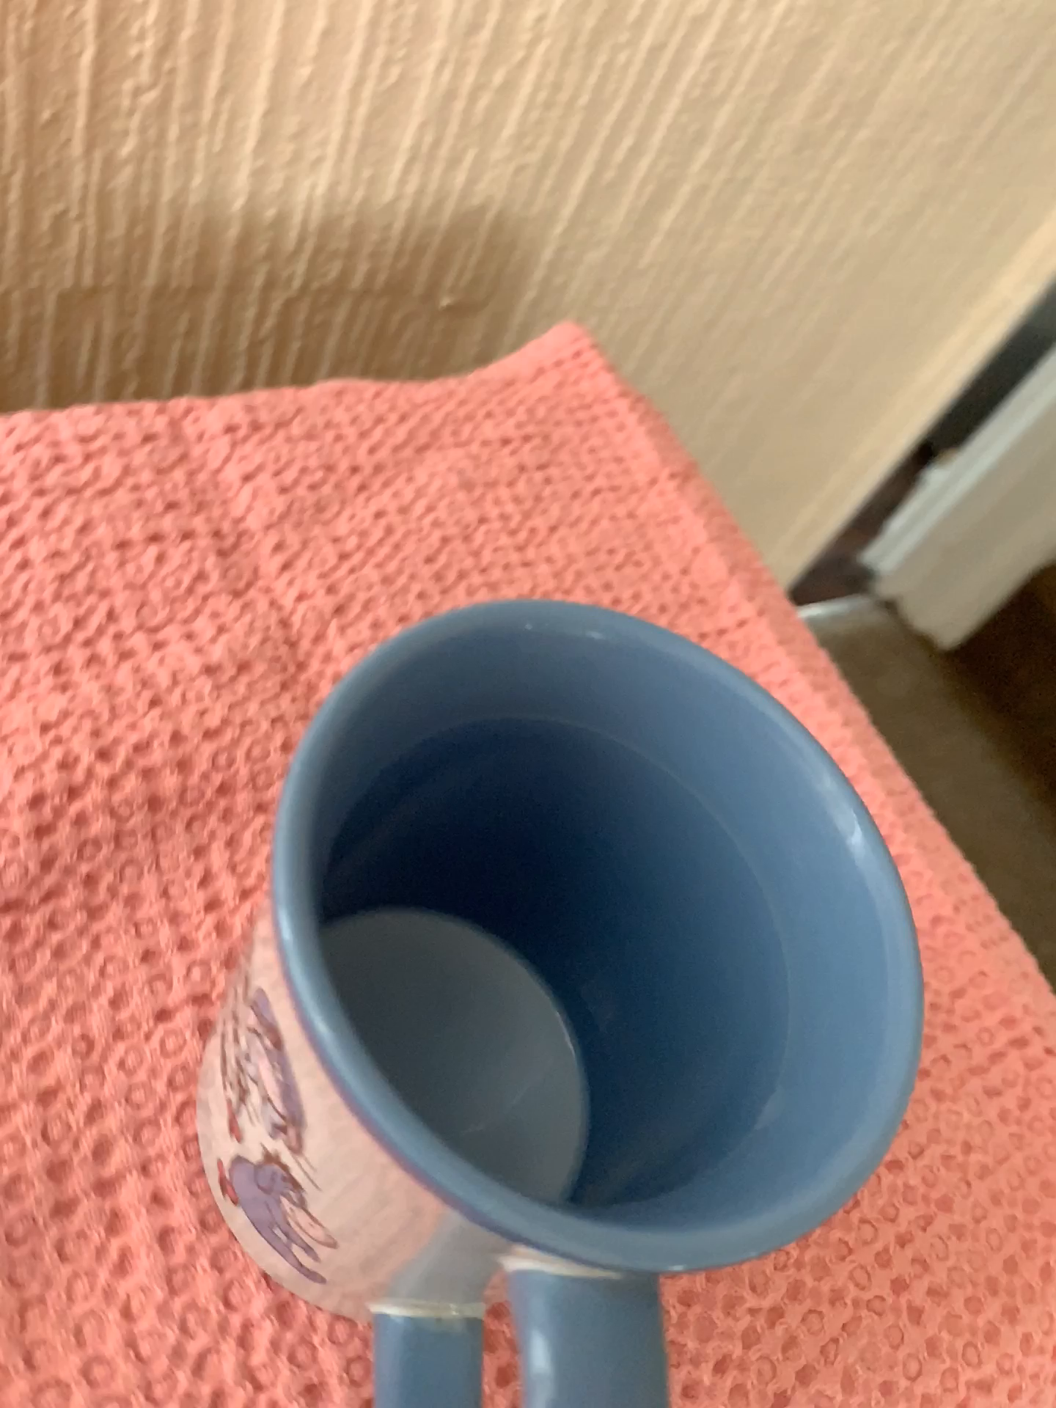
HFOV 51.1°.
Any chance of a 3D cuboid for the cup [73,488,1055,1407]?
[{"bbox_3d":[-0.003,0.053,0.162,0.090,0.099,0.111,13,51,-18],"label":"cup"}]
